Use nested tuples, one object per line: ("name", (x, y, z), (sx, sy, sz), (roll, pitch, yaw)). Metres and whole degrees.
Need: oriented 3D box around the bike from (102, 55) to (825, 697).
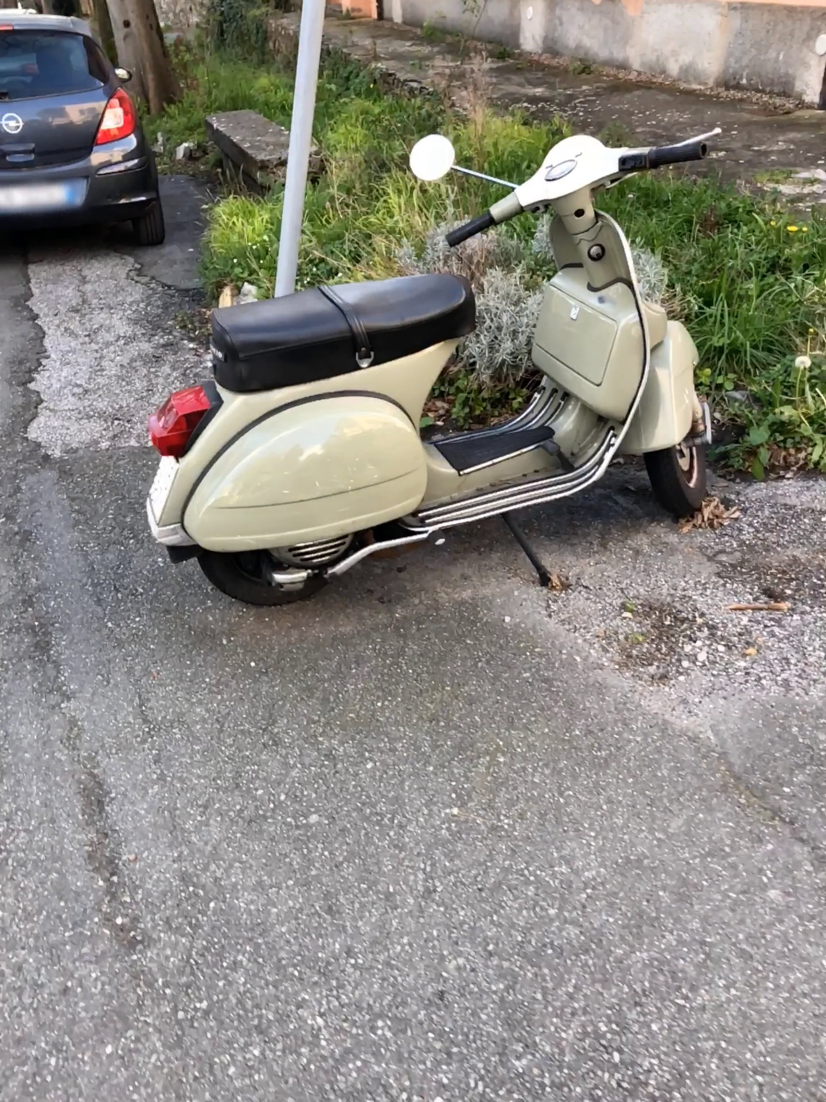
("bike", (0.130, -0.476, 2.206), (1.442, 1.027, 0.624), (-18, 37, -17))
